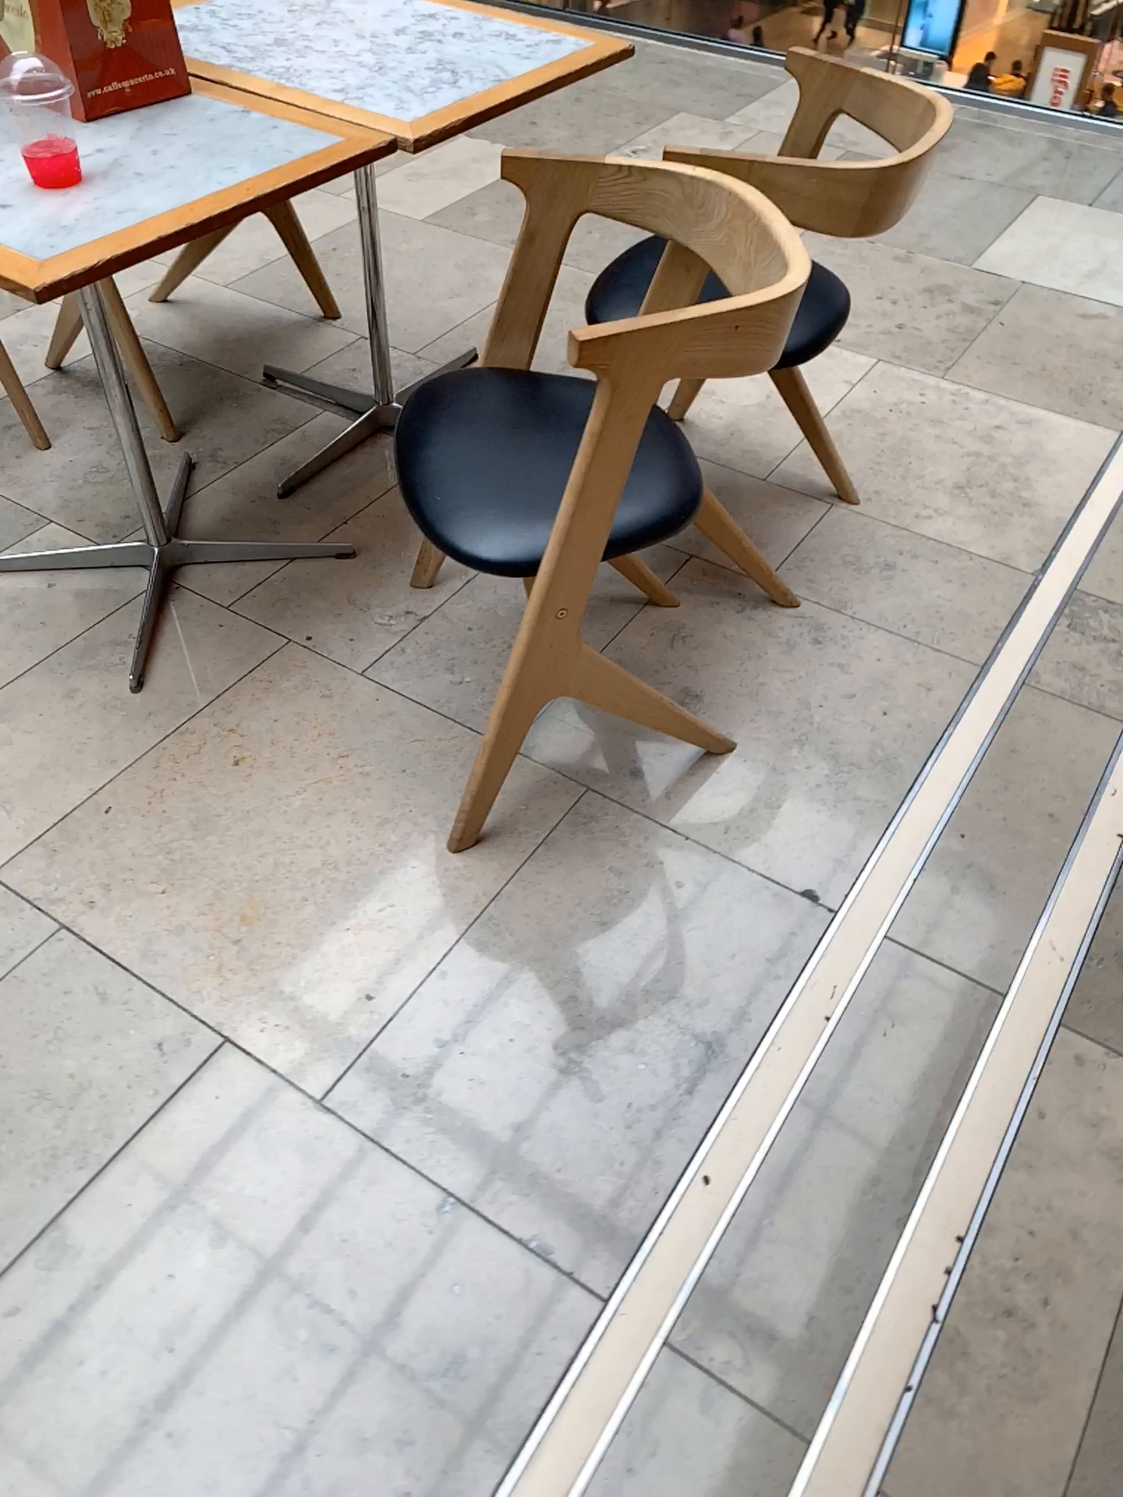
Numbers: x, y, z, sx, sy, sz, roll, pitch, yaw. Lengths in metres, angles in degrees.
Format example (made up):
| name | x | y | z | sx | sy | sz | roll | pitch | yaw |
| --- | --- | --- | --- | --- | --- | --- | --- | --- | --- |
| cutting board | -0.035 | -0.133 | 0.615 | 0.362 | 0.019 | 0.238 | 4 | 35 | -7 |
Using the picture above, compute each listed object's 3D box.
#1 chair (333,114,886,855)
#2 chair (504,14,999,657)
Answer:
| name | x | y | z | sx | sy | sz | roll | pitch | yaw |
| --- | --- | --- | --- | --- | --- | --- | --- | --- | --- |
| chair | 0.003 | -0.363 | 1.559 | 0.499 | 0.708 | 0.649 | -7 | 47 | -9 |
| chair | 0.291 | -0.691 | 1.893 | 0.530 | 0.717 | 0.638 | 20 | 49 | 17 |
